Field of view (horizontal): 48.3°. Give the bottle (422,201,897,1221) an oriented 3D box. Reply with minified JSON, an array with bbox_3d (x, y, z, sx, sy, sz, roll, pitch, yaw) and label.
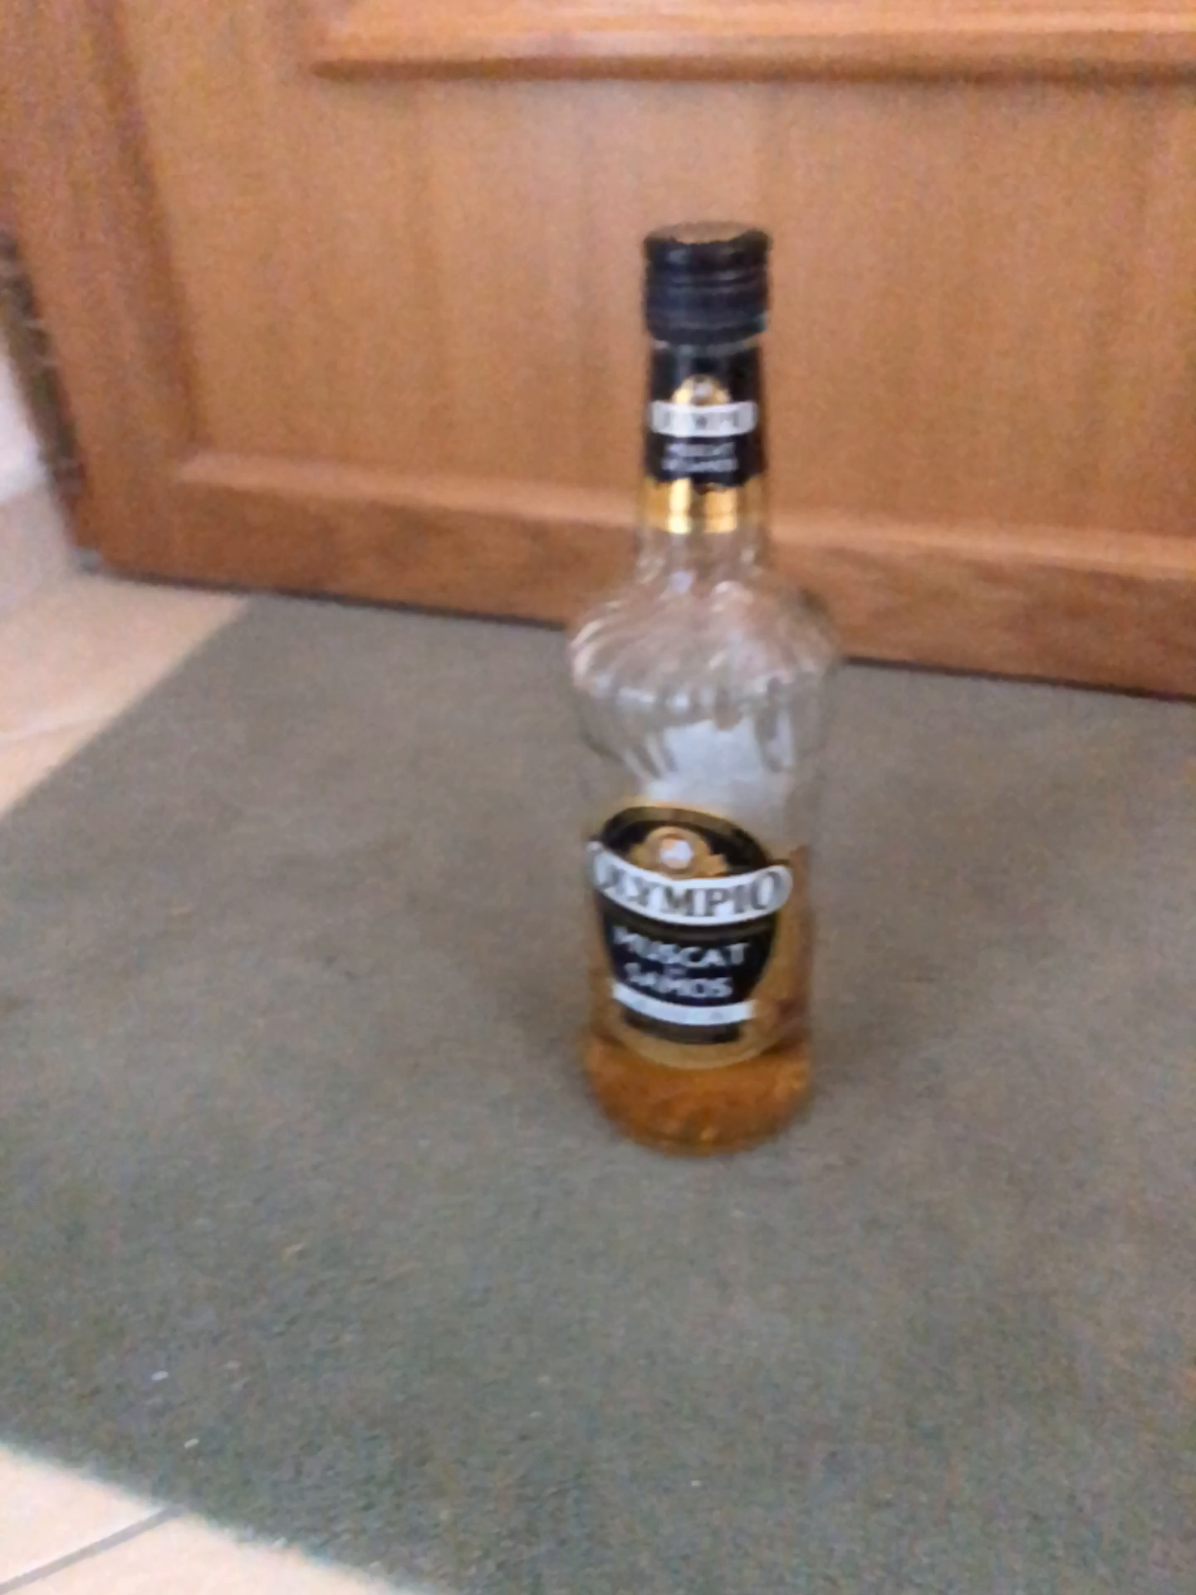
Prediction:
[{"bbox_3d":[0.024,-0.014,0.401,0.090,0.288,0.091,-2,34,1],"label":"bottle"}]
